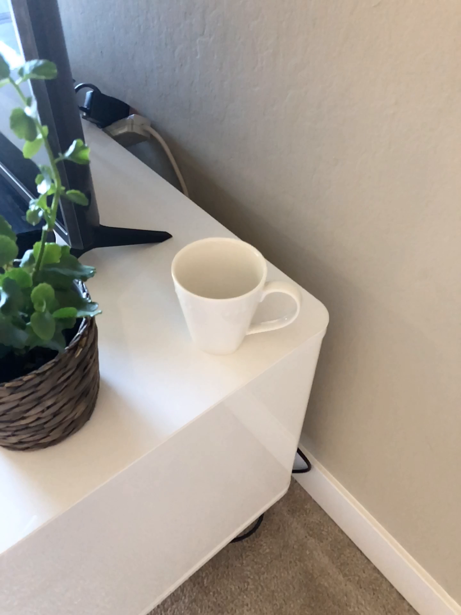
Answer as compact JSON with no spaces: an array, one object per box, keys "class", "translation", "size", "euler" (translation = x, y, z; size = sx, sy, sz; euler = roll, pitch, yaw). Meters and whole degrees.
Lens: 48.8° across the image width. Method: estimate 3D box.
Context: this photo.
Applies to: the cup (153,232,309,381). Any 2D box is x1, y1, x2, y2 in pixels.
[{"class":"cup","translation":[0.003,-0.002,0.513],"size":[0.130,0.090,0.090],"euler":[11,47,9]}]
